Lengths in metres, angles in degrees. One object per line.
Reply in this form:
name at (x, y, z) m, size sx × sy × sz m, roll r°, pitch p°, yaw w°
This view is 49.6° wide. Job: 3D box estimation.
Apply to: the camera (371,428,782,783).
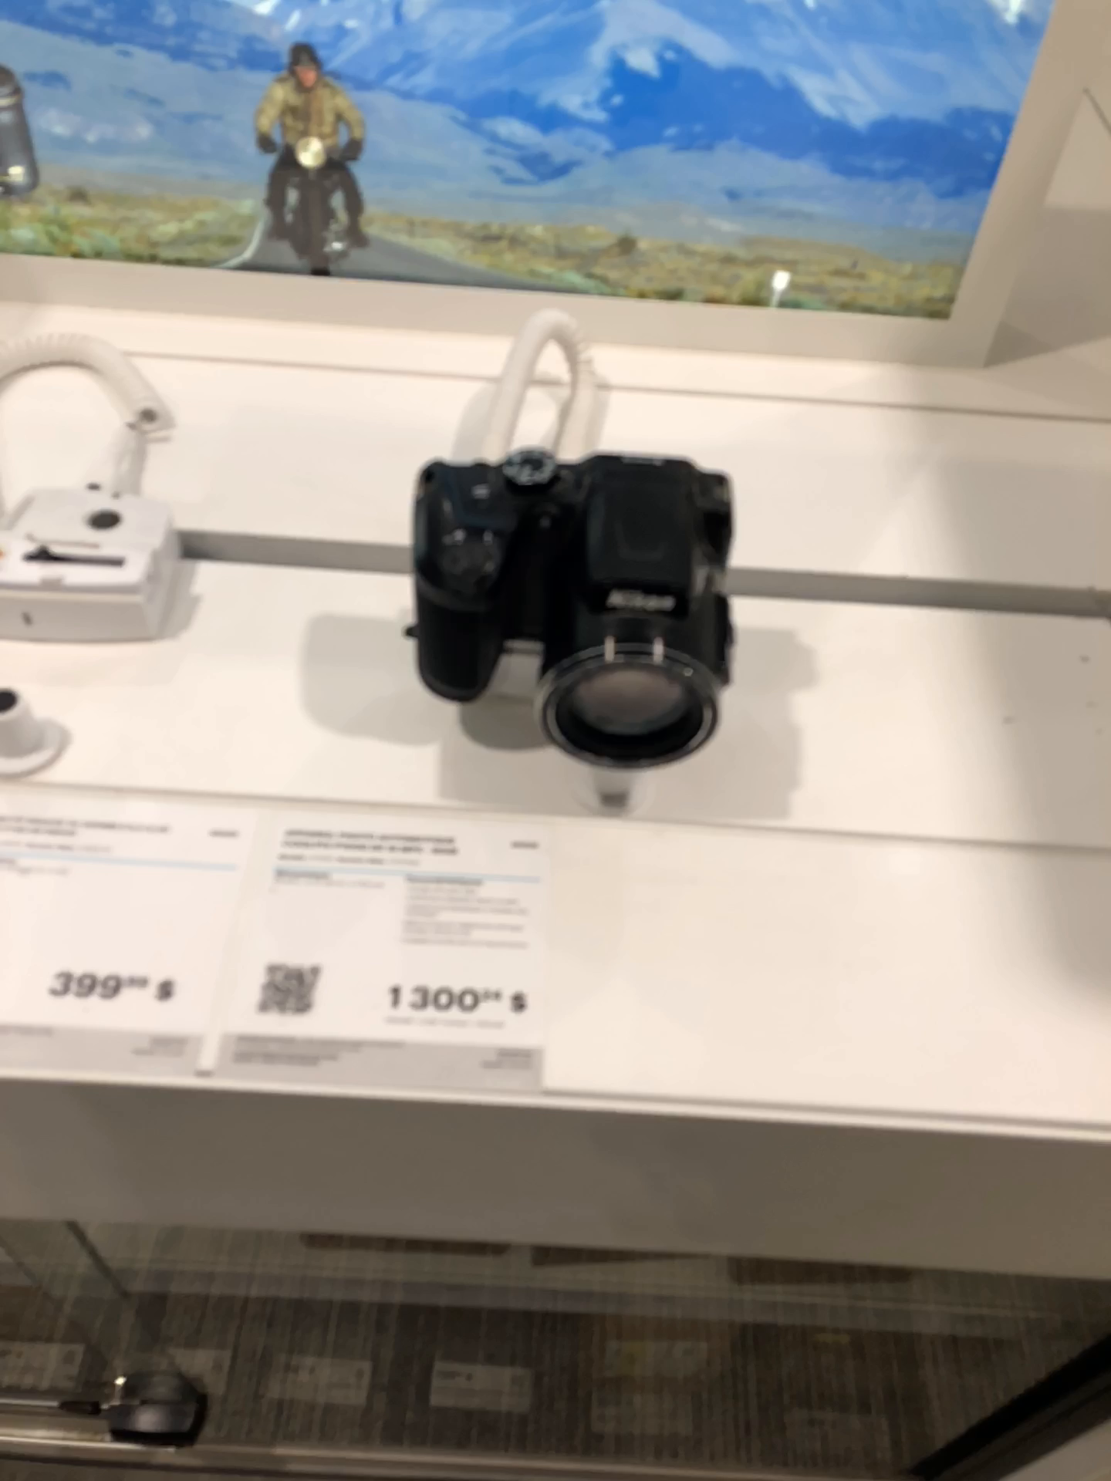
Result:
camera at (0.005, -0.045, 0.397) m, size 0.117 × 0.067 × 0.092 m, roll 2°, pitch 49°, yaw -2°
